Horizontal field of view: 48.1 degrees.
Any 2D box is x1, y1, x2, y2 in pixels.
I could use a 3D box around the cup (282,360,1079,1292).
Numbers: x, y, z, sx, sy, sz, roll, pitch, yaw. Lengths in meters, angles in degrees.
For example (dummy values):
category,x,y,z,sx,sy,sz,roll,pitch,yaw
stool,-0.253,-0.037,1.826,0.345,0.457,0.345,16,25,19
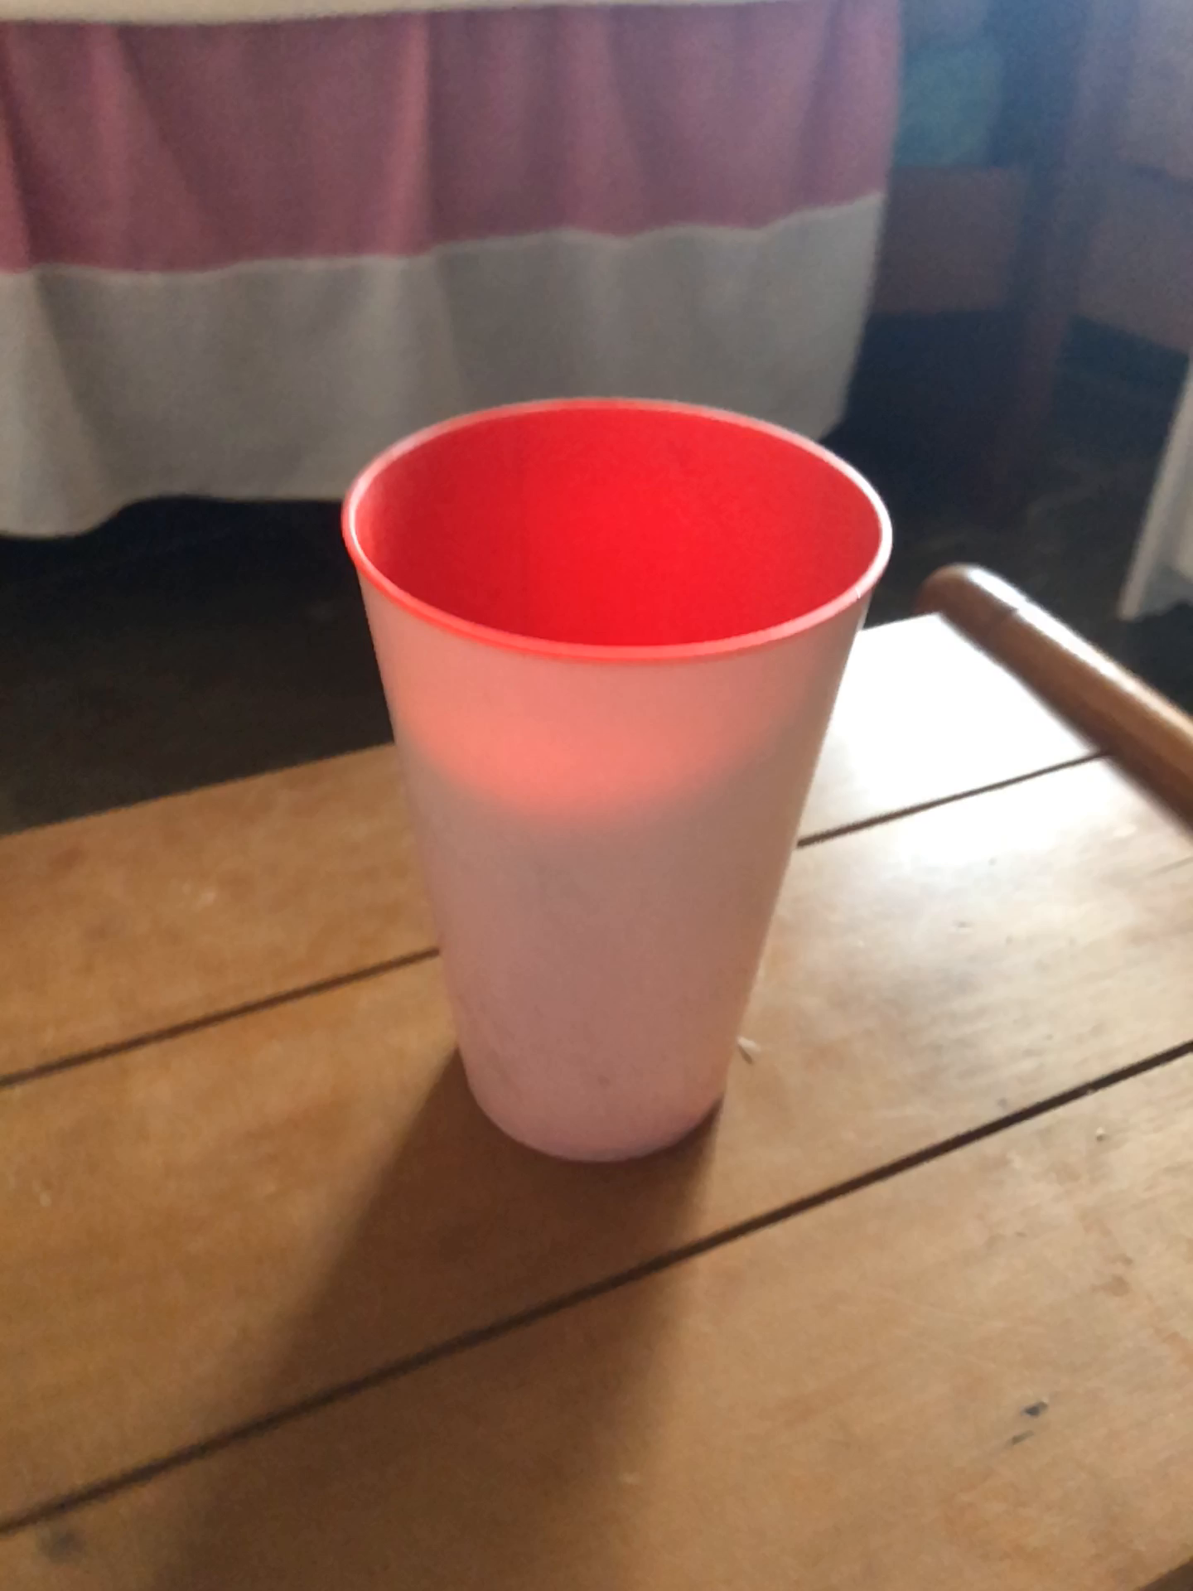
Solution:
category,x,y,z,sx,sy,sz,roll,pitch,yaw
cup,0.006,0.000,0.250,0.090,0.119,0.100,-16,41,-22
